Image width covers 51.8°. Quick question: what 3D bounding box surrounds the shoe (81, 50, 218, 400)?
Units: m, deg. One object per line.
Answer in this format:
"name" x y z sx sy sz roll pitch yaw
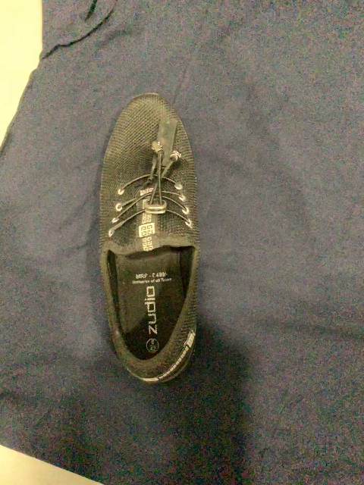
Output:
"shoe" -0.029 -0.017 0.357 0.100 0.090 0.290 -5 81 4
